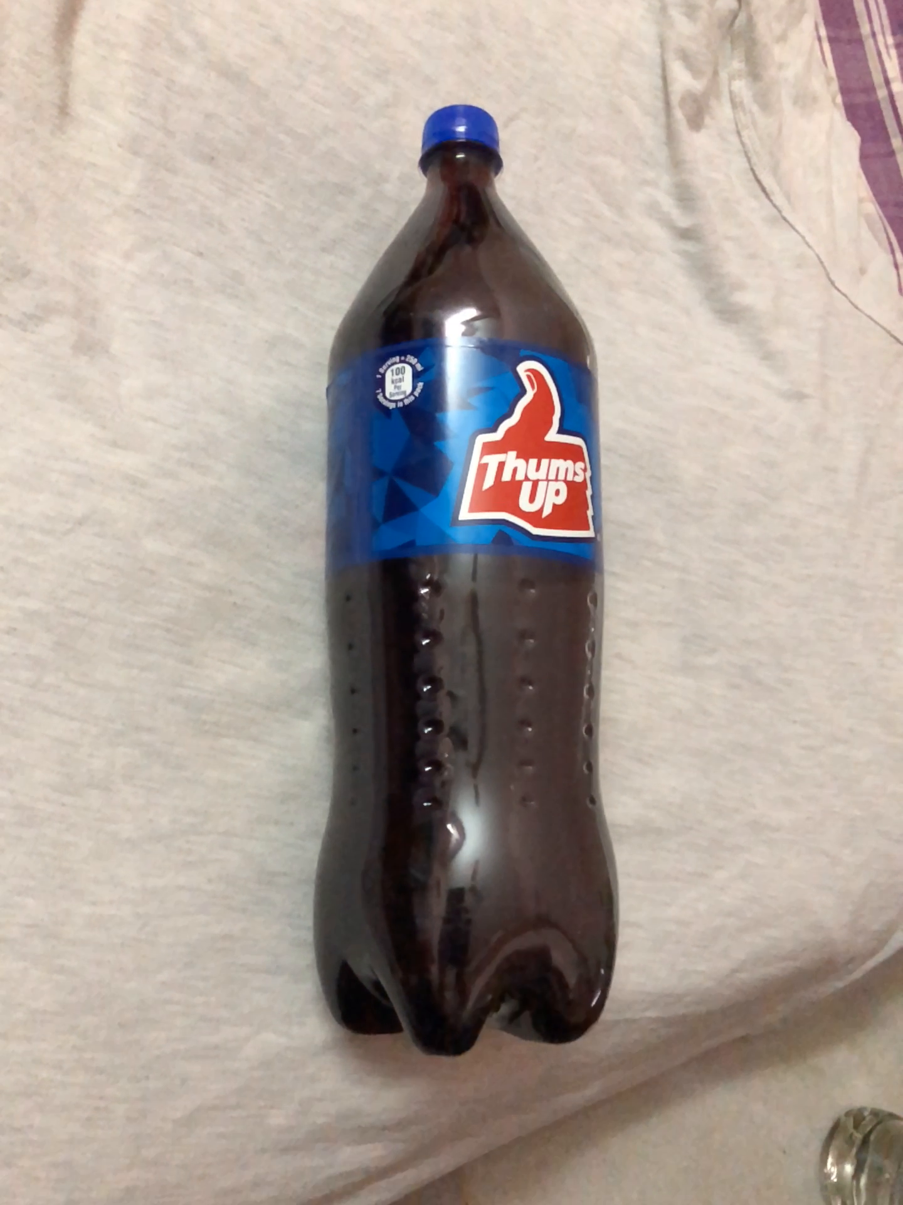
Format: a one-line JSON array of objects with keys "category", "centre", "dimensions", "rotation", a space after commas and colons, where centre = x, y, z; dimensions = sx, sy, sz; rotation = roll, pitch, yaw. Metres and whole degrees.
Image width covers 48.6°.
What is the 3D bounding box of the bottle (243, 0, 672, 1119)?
[{"category": "bottle", "centre": [-0.001, -0.025, 0.297], "dimensions": [0.100, 0.060, 0.300], "rotation": [4, 79, -26]}]
